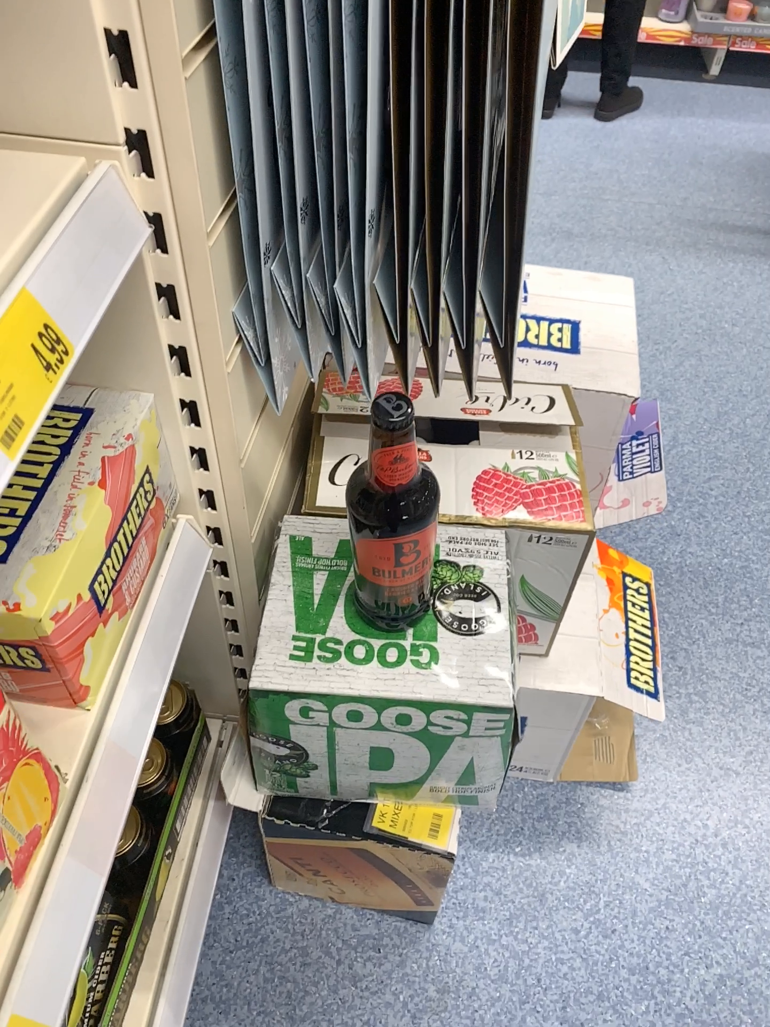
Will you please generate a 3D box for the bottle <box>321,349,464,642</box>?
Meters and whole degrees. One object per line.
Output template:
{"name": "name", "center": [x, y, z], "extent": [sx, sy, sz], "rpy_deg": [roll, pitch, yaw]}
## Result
{"name": "bottle", "center": [0.004, -0.003, 0.605], "extent": [0.070, 0.234, 0.070], "rpy_deg": [0, 50, 0]}
